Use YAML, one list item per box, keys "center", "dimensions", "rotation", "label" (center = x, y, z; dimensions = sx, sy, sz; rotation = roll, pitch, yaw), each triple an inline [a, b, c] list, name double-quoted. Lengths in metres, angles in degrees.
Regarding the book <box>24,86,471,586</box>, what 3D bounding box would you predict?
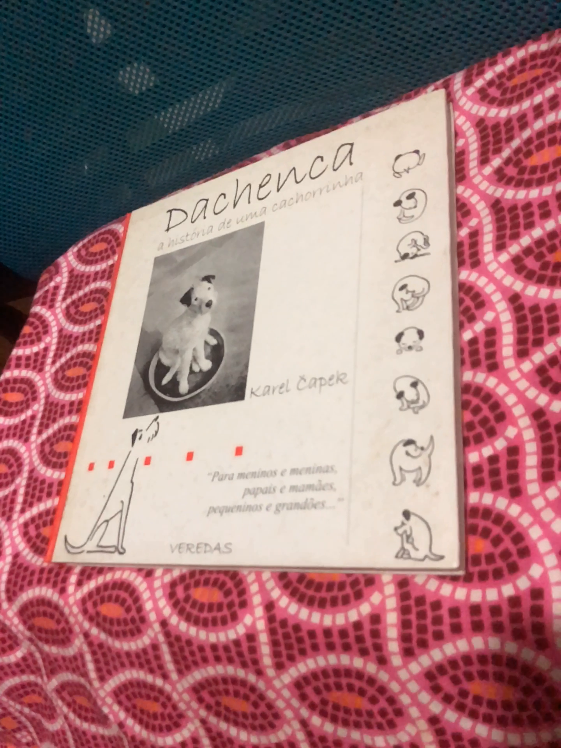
- center: [-0.018, -0.015, 0.301]
  dimensions: [0.206, 0.027, 0.216]
  rotation: [-10, 60, 31]
  label: "book"
